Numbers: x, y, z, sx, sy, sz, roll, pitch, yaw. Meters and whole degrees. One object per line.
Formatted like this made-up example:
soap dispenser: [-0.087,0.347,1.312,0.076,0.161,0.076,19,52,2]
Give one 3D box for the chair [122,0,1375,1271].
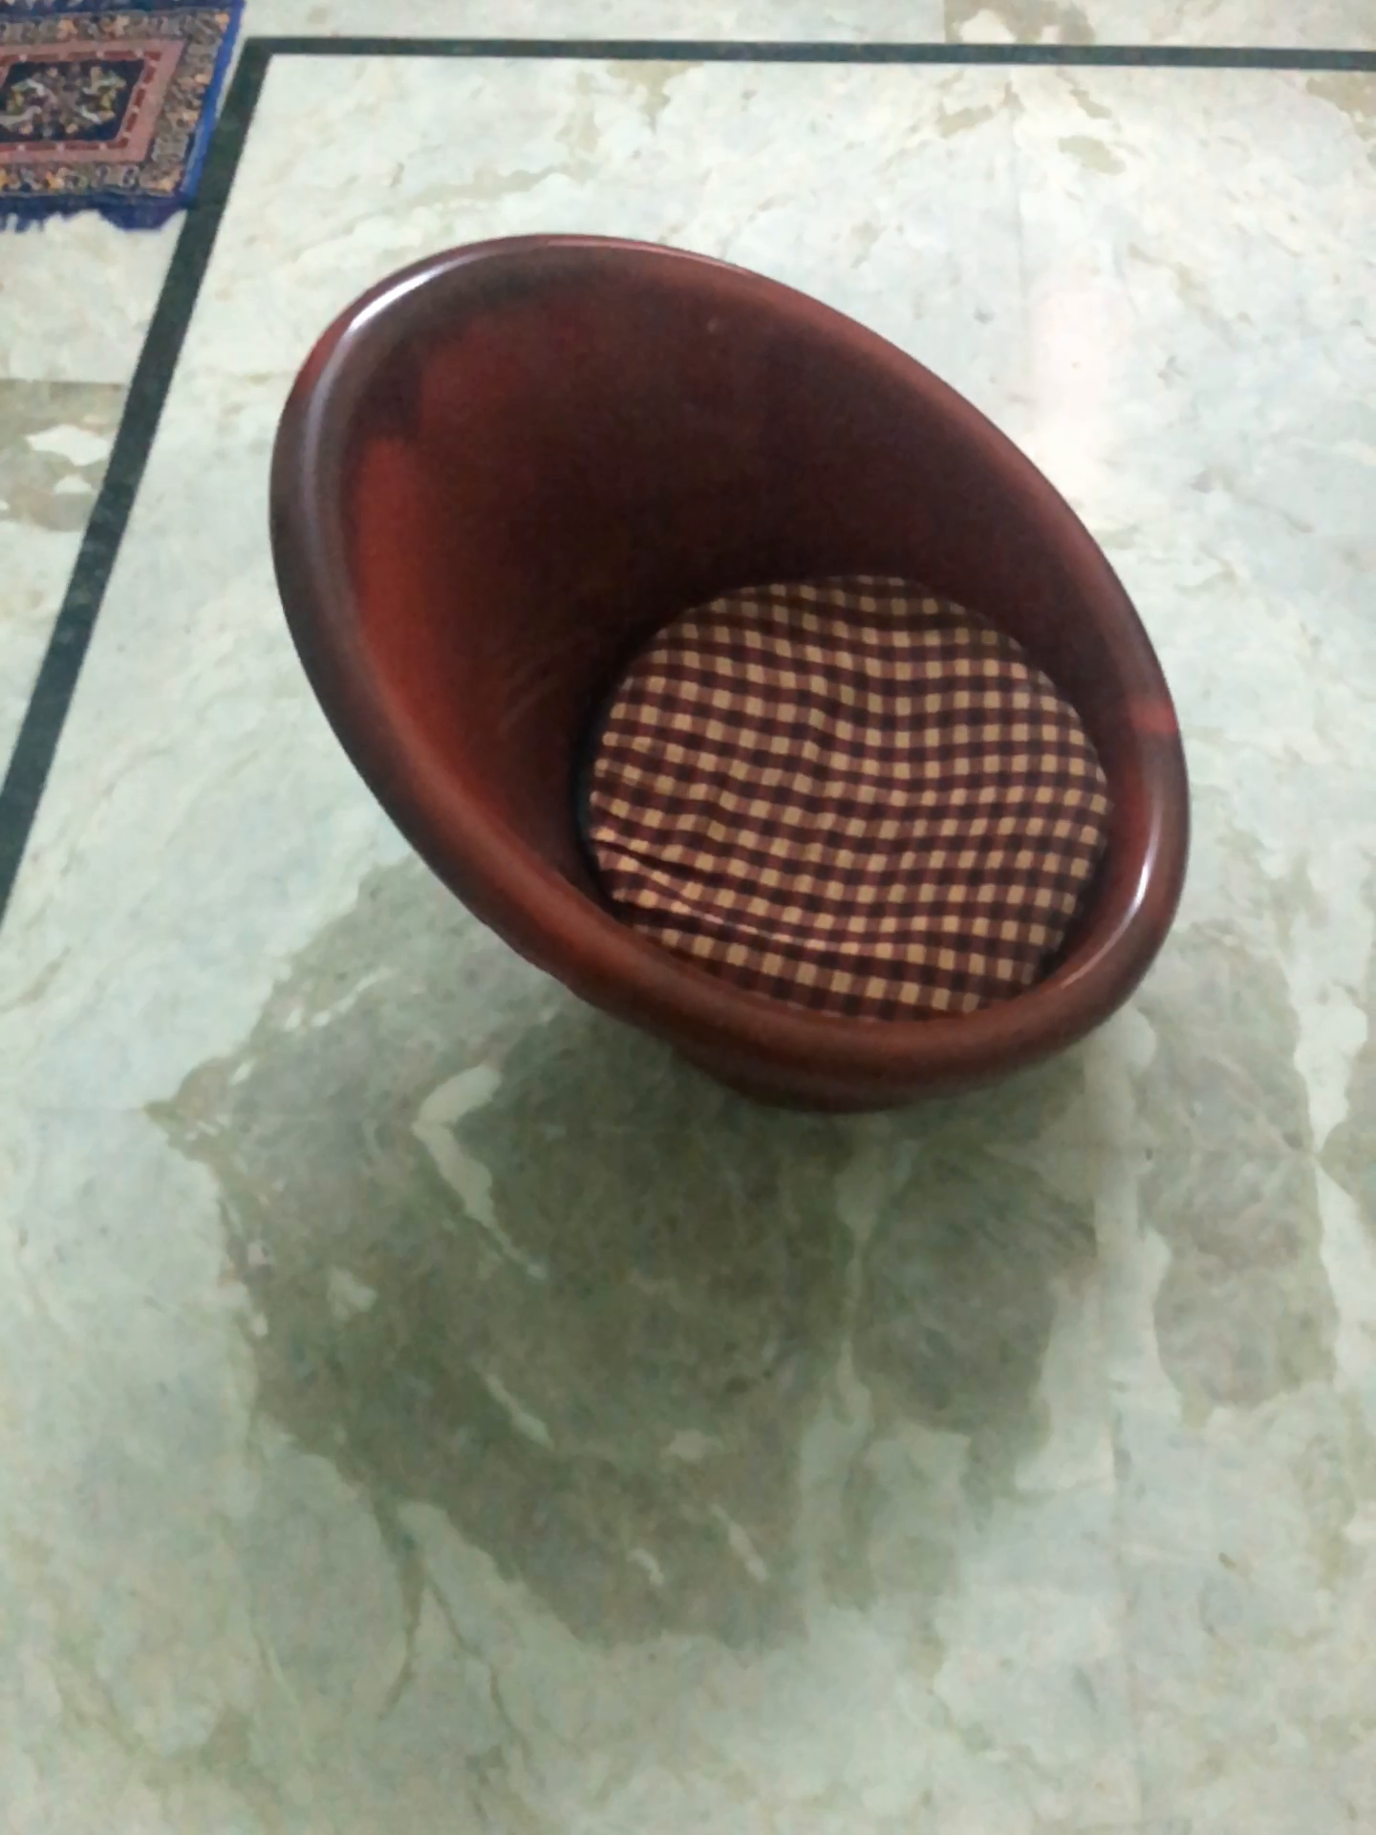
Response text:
chair: [0.123,-0.220,1.078,0.630,0.548,0.673,11,62,8]
